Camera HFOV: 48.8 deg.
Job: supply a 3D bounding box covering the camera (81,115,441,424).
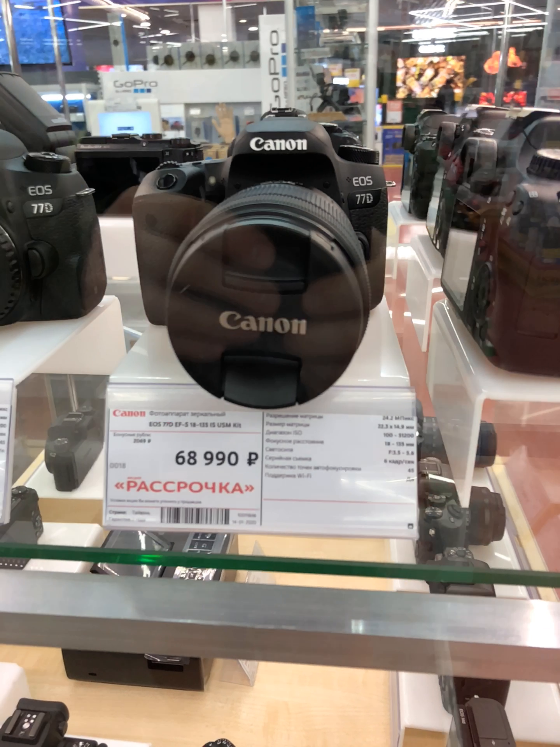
[{"bbox_3d":[0.000,-0.068,0.324,0.132,0.119,0.168,1,24,5],"label":"camera"}]
